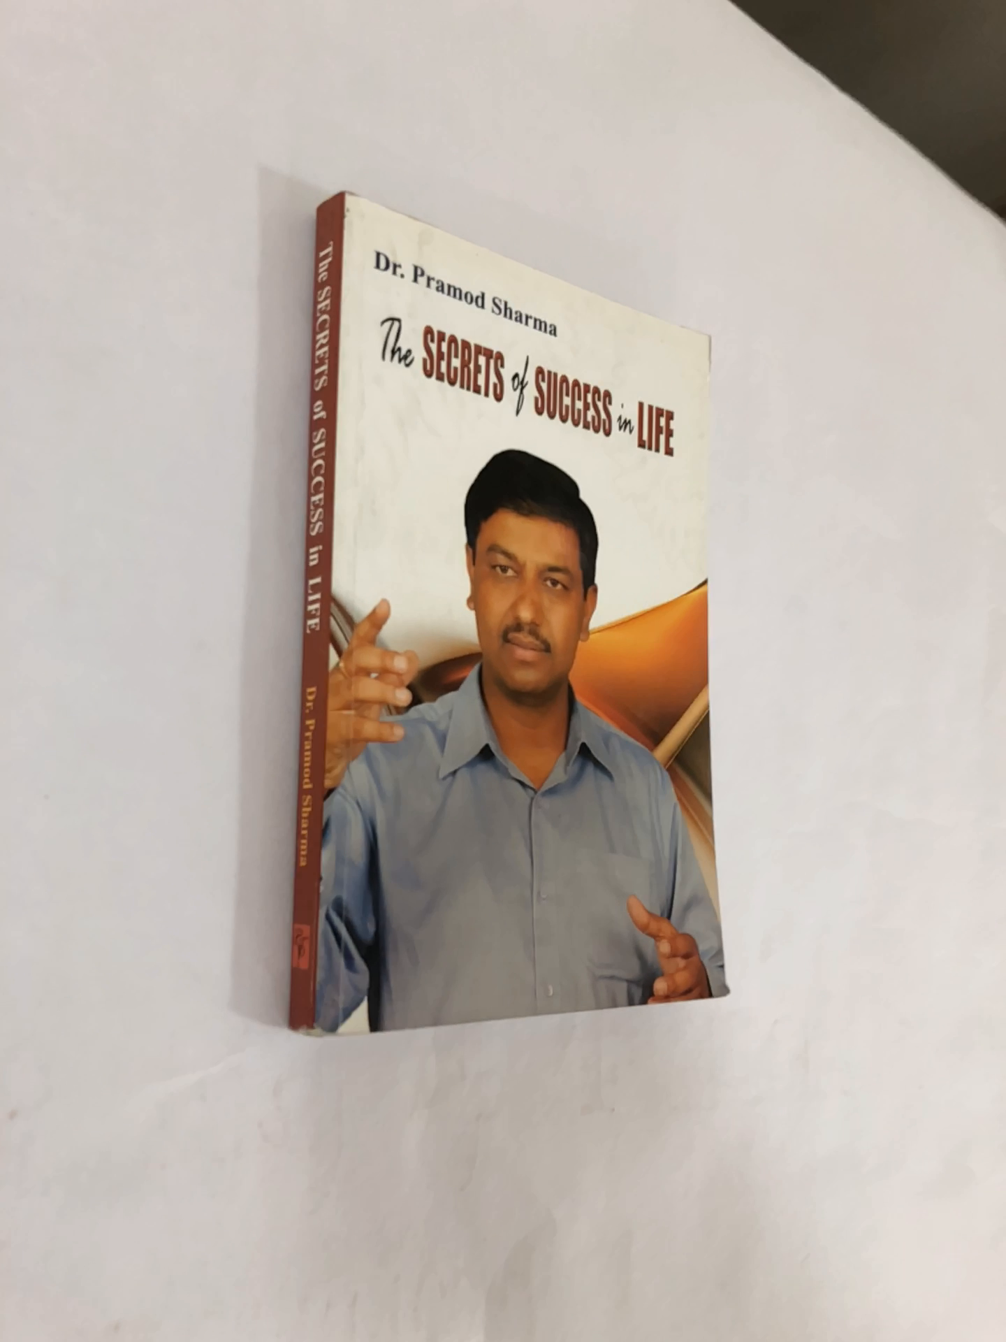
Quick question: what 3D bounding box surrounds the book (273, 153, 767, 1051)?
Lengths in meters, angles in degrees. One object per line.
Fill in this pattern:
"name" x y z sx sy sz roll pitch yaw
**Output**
"book" 0.011 -0.014 0.309 0.151 0.020 0.210 7 77 -38
